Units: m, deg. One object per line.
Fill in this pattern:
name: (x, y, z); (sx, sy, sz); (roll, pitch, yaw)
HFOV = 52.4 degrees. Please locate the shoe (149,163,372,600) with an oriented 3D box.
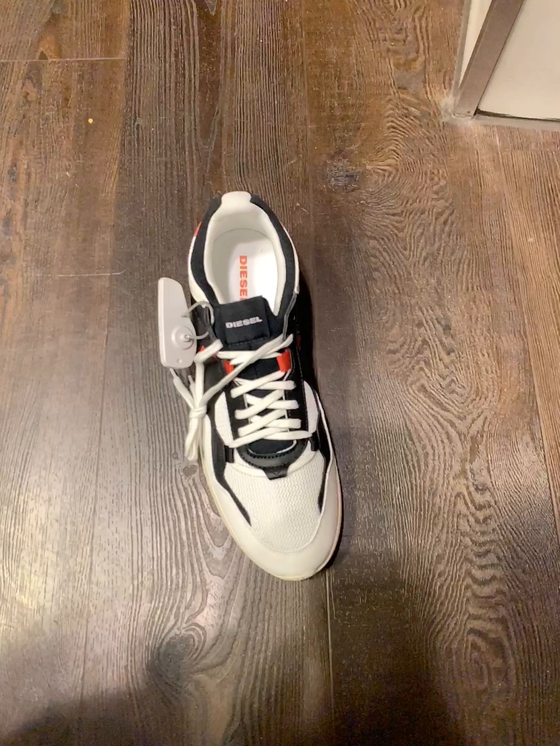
shoe: (-0.021, 0.004, 0.446); (0.110, 0.110, 0.301); (-9, 73, -2)
